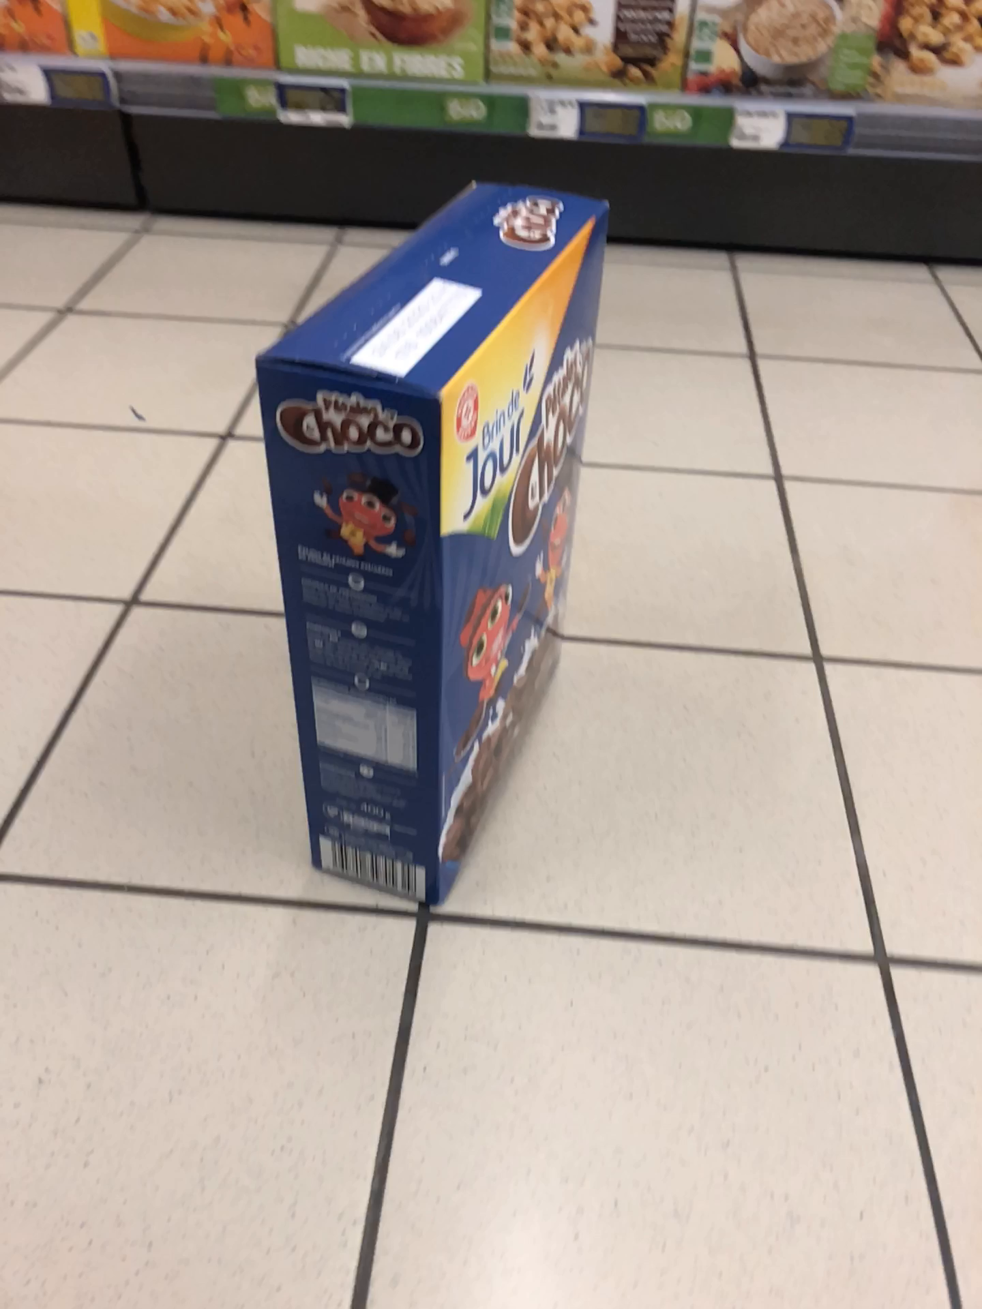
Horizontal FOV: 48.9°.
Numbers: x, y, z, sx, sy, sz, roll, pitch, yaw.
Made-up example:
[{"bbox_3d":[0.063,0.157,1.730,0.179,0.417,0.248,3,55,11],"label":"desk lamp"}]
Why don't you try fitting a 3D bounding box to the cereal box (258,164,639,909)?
[{"bbox_3d":[-0.009,-0.053,0.474,0.070,0.248,0.201,15,41,14],"label":"cereal box"}]
